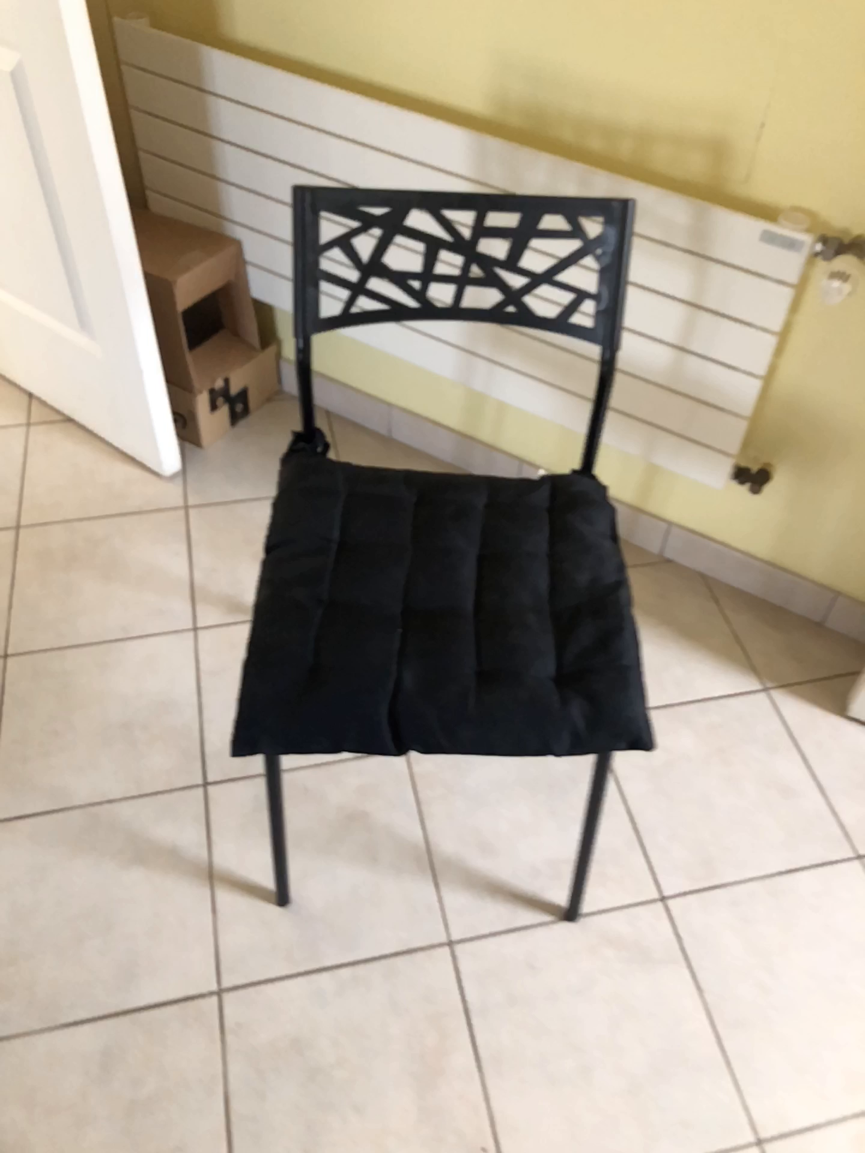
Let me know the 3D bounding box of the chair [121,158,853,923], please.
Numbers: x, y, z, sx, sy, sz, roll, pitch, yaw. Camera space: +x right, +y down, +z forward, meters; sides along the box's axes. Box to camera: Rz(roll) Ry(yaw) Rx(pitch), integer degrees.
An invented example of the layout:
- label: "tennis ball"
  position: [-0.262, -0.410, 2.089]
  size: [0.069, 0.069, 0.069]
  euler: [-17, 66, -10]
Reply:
- label: "chair"
  position: [0.032, -0.001, 1.122]
  size: [0.520, 0.736, 0.523]
  euler: [2, 48, -1]
